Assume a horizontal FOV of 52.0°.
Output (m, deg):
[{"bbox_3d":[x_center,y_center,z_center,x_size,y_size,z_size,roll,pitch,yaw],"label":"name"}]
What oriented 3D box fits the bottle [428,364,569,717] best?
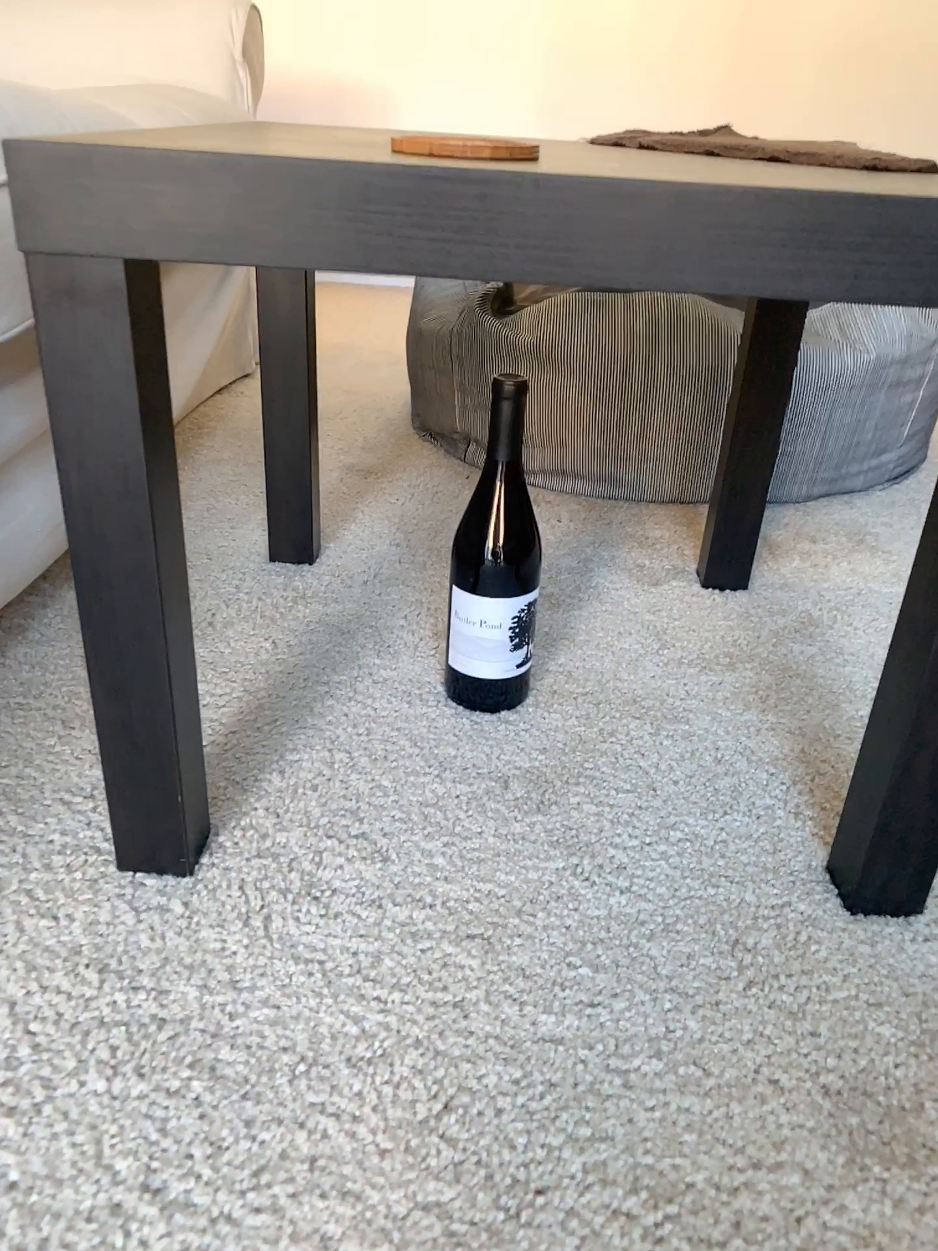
[{"bbox_3d":[0.018,-0.067,0.827,0.090,0.288,0.091,3,29,-2],"label":"bottle"}]
